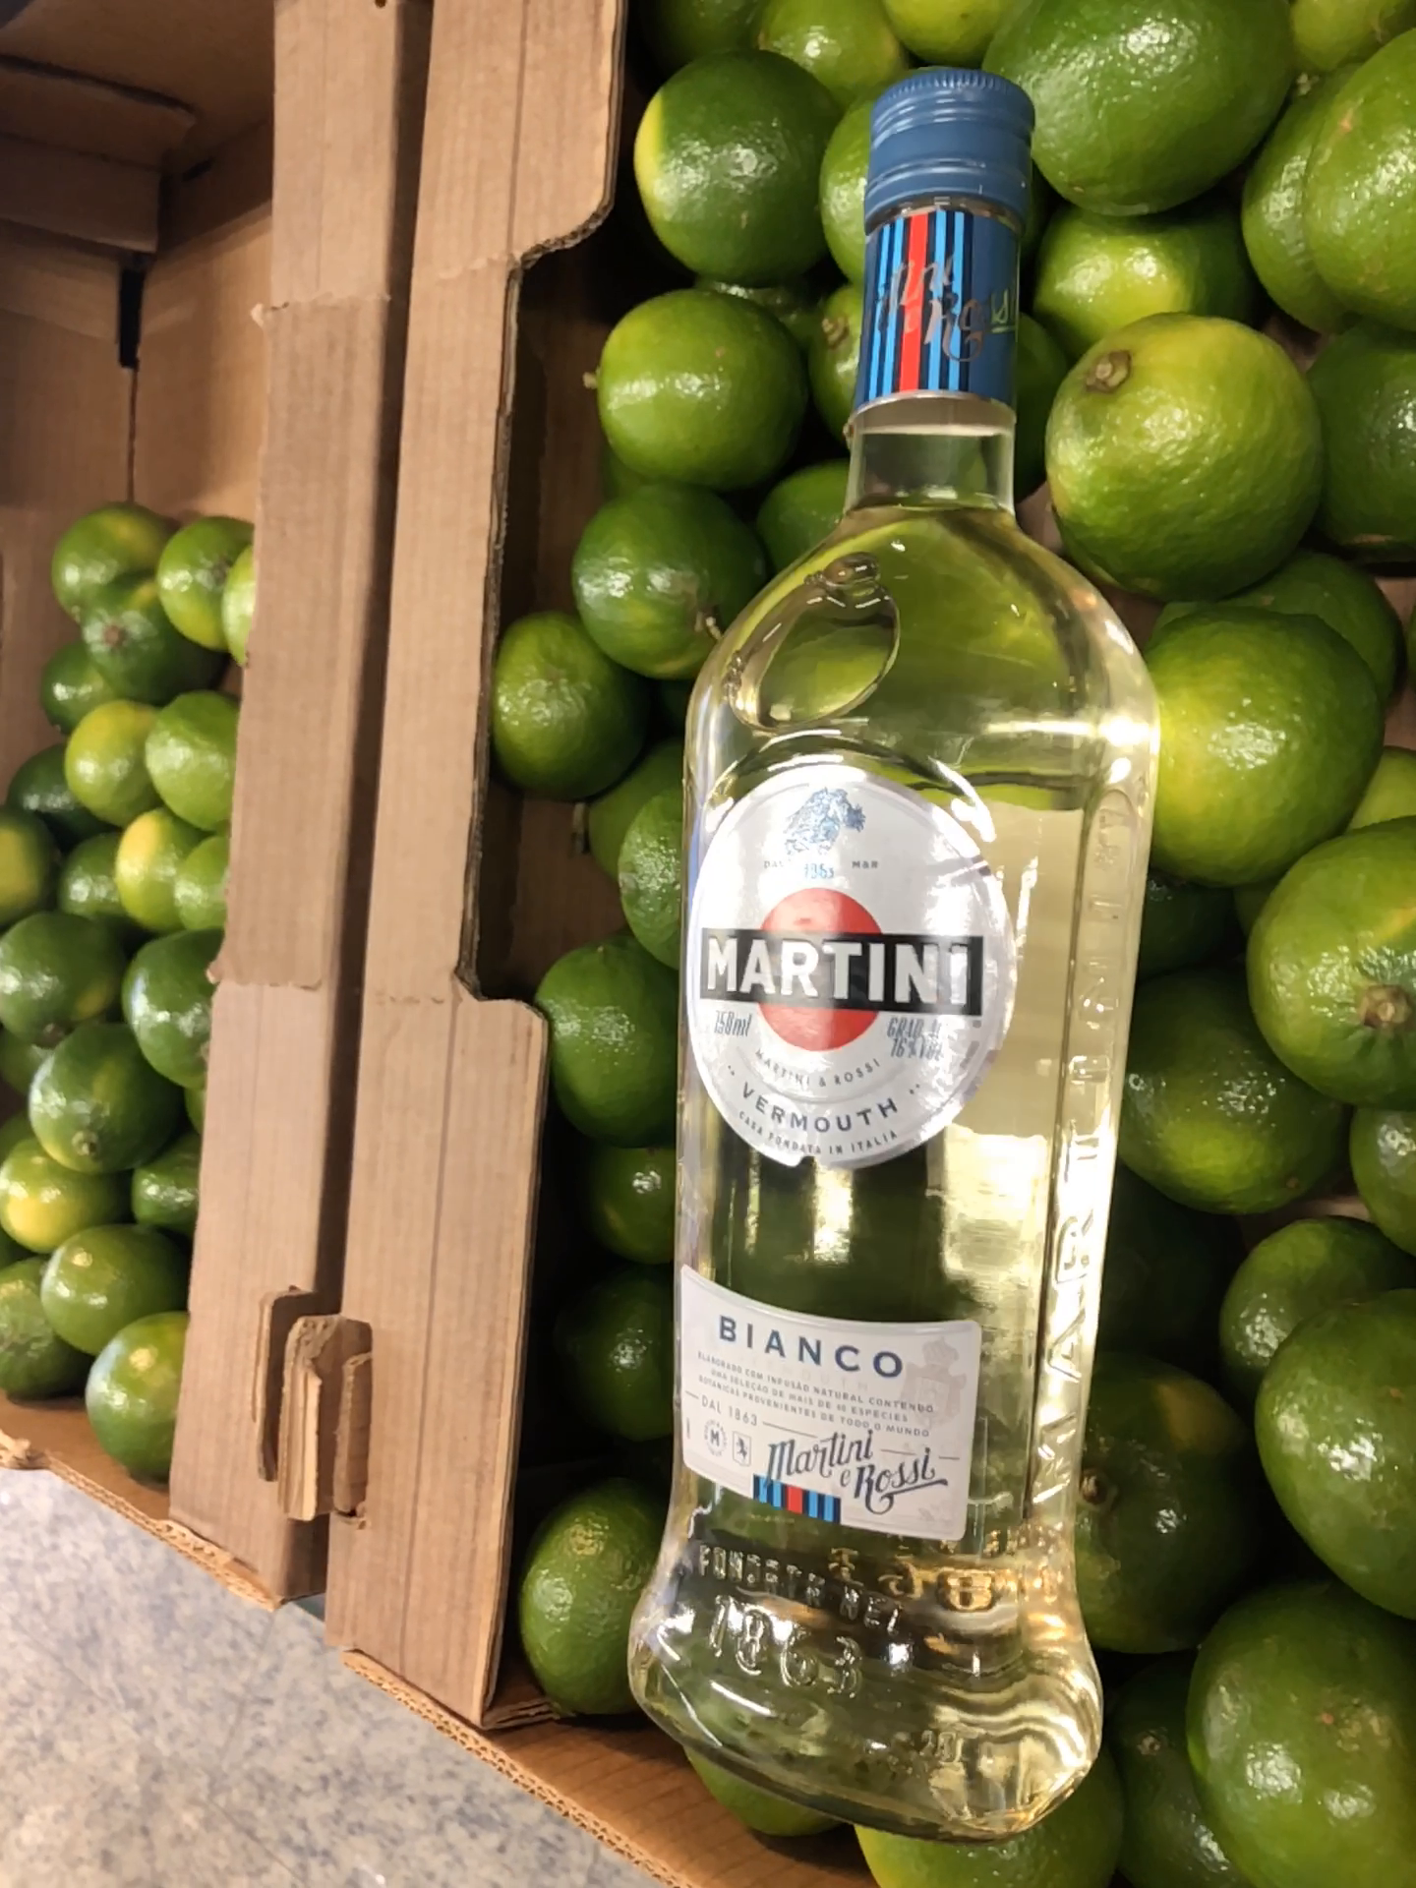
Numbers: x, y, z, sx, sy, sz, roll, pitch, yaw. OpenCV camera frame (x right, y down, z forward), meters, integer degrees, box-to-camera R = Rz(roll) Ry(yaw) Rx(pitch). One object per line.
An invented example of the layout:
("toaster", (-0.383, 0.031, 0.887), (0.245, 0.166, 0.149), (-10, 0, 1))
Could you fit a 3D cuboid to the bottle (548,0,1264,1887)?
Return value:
("bottle", (0.036, -0.006, 0.295), (0.101, 0.050, 0.320), (2, 87, 39))
